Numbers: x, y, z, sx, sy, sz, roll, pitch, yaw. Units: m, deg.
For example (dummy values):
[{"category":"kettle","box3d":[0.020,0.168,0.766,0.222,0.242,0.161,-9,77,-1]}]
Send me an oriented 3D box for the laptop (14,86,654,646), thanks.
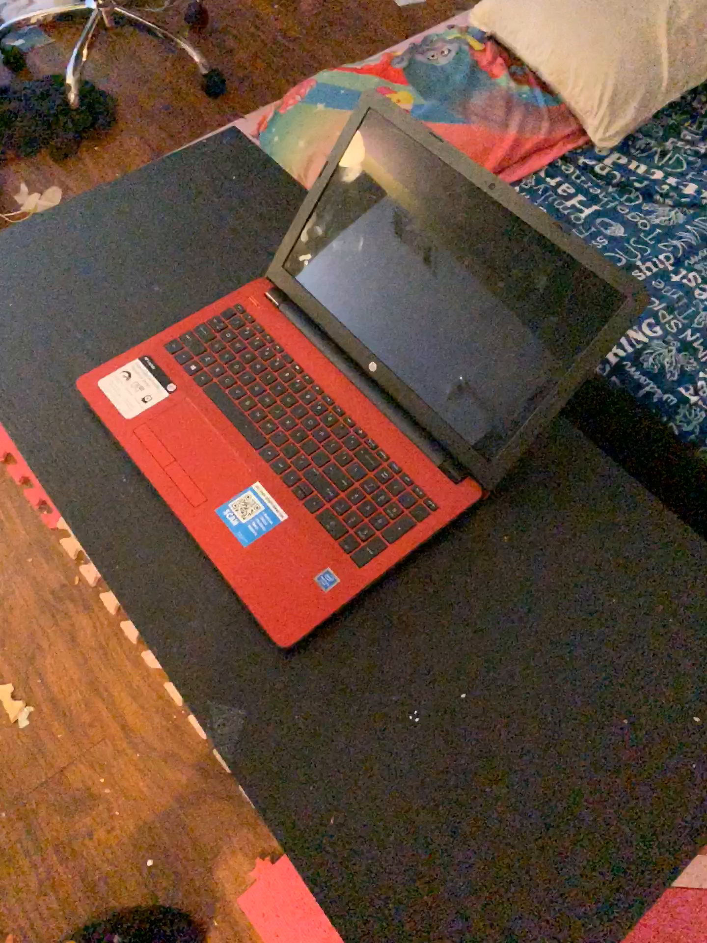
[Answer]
[{"category":"laptop","box3d":[-0.021,-0.127,0.703,0.410,0.170,0.376,-36,66,-19]}]
